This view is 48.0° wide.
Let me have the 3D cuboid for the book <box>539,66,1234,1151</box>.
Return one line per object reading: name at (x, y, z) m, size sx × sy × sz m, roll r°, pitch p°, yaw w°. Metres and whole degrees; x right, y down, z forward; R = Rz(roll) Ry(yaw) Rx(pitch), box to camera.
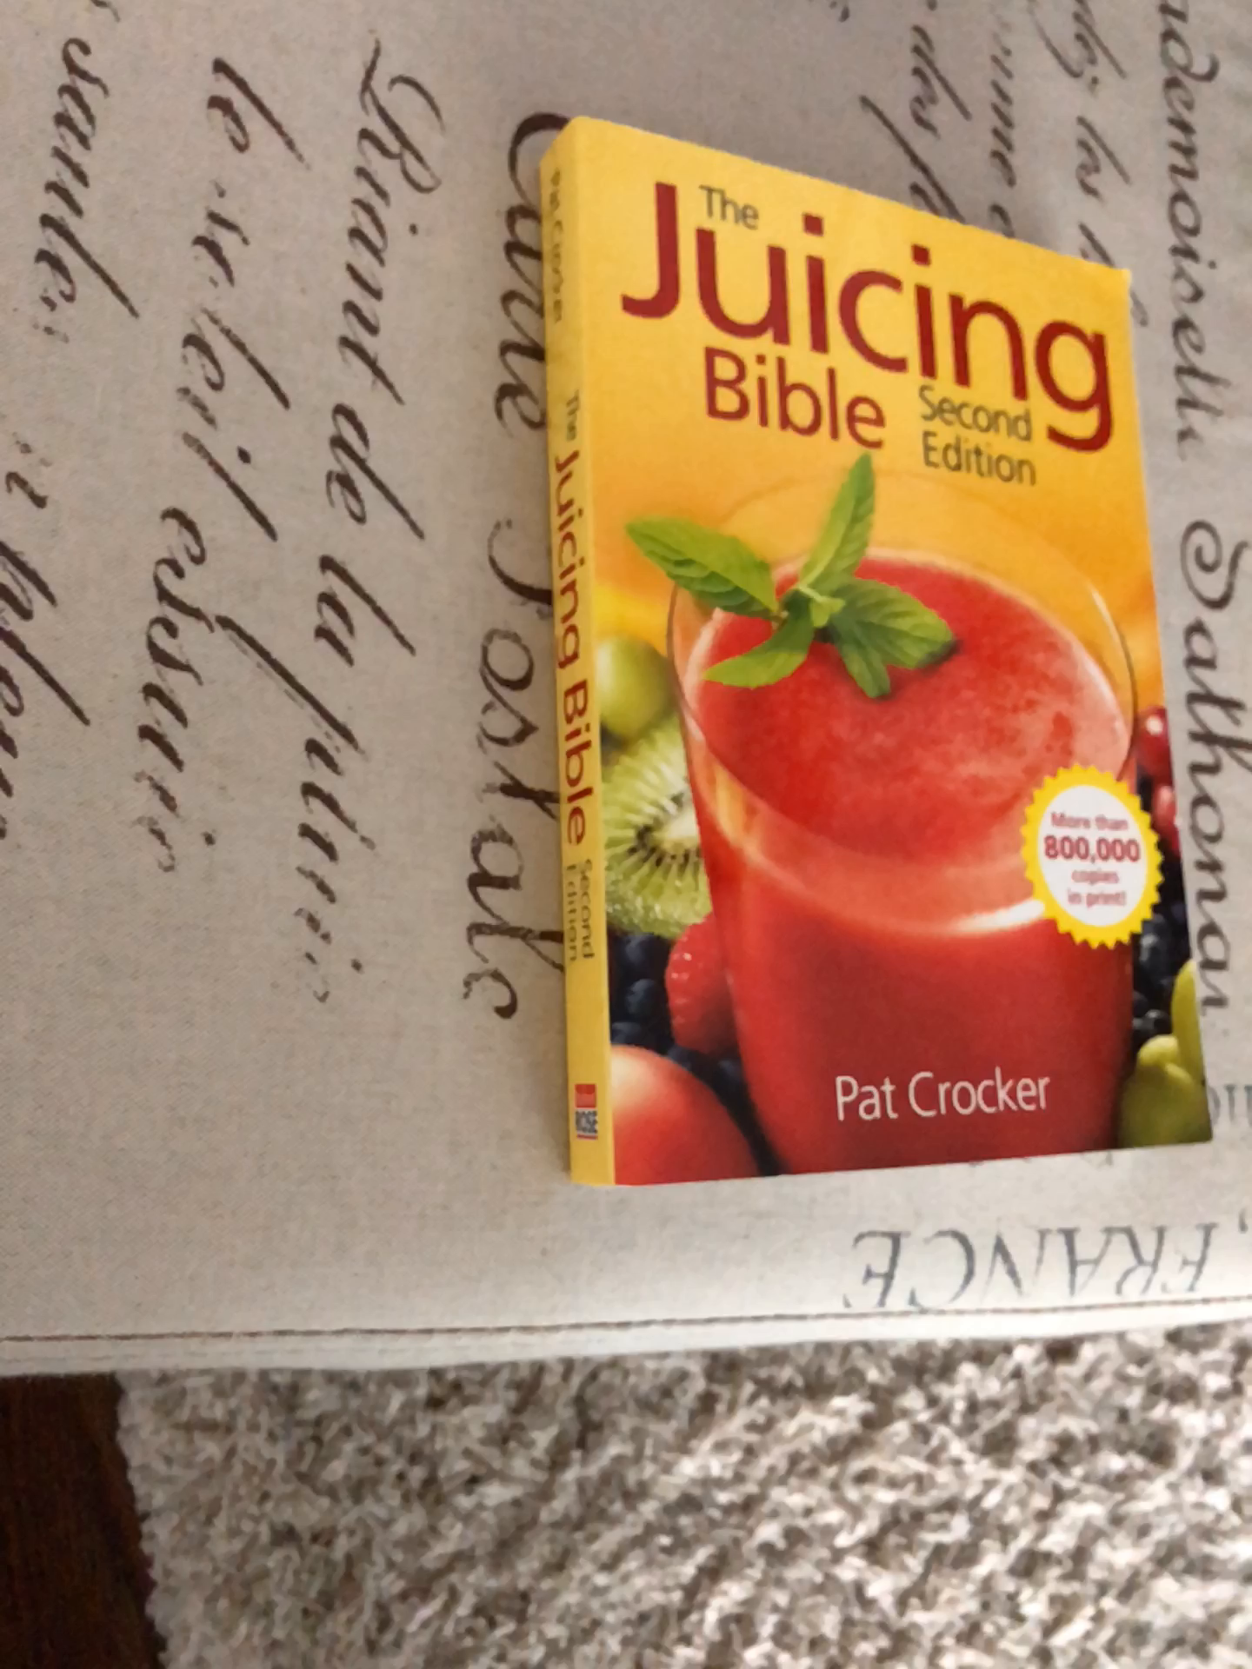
book at (0.069, -0.051, 0.363) m, size 0.181 × 0.030 × 0.250 m, roll 3°, pitch 80°, yaw -26°
